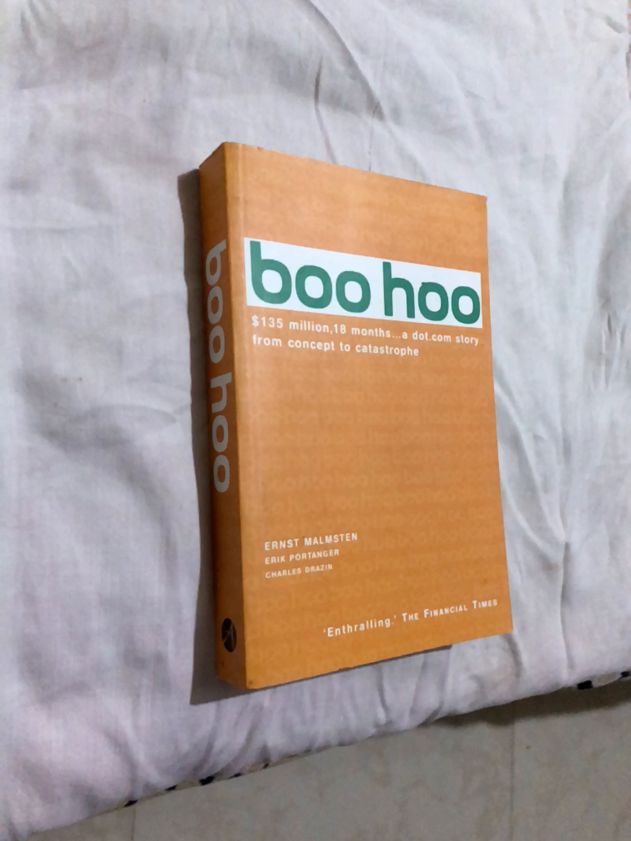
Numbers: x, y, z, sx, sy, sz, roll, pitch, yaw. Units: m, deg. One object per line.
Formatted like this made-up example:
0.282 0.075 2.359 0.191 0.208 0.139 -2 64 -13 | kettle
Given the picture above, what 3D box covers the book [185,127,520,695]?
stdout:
0.017 -0.004 0.295 0.131 0.040 0.200 0 86 -28 | book
